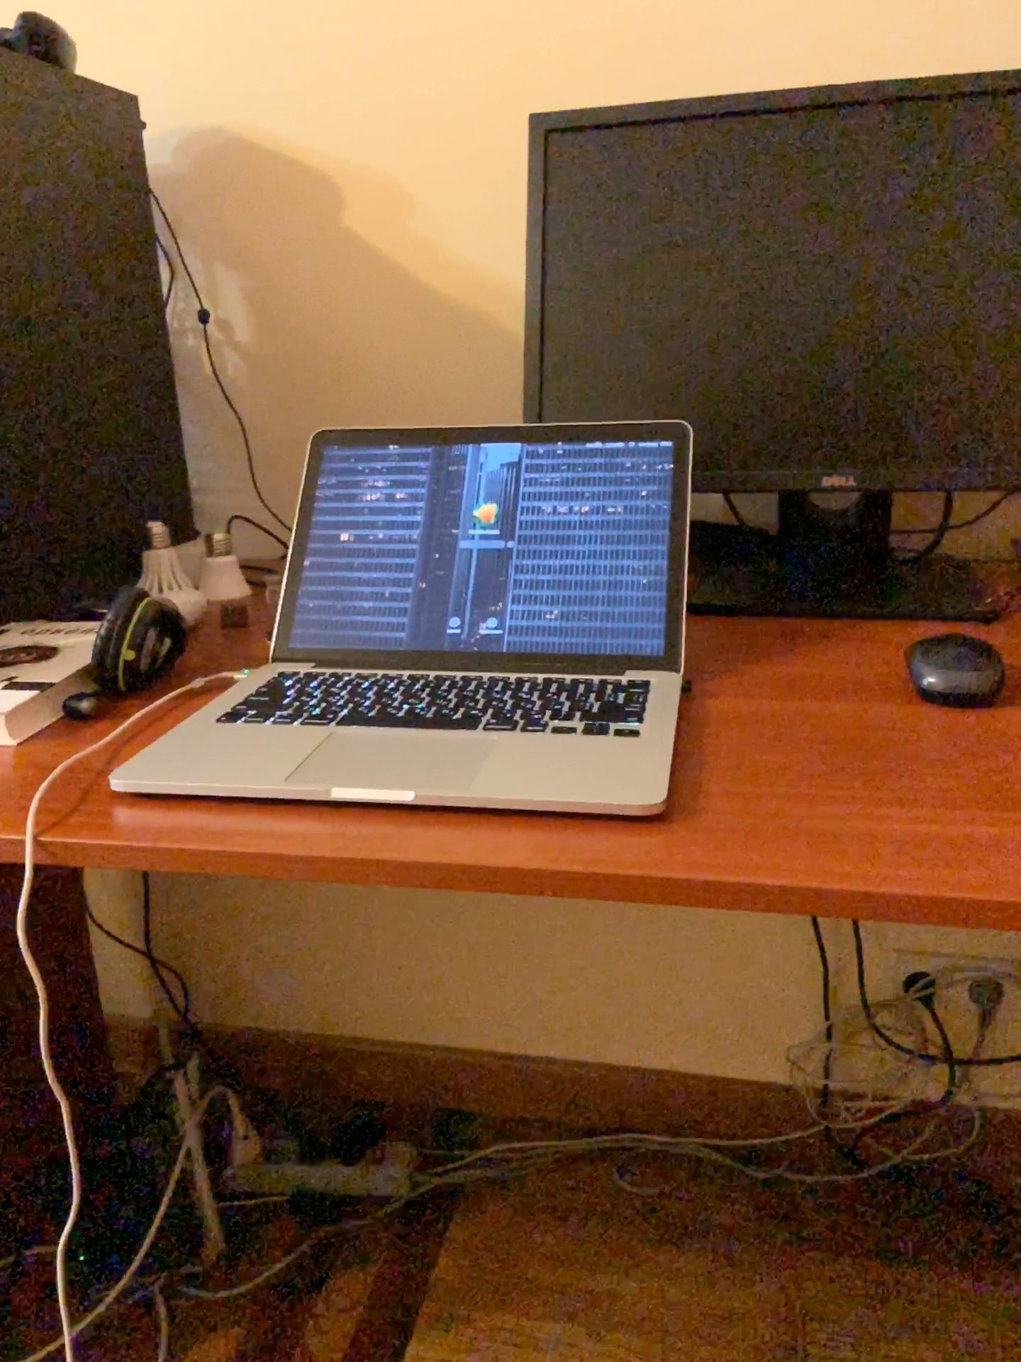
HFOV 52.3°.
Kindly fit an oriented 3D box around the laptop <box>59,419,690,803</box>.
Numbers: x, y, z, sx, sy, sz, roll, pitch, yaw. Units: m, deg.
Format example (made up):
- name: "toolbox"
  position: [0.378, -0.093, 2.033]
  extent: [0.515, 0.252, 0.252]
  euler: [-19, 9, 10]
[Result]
- name: "laptop"
  position: [-0.042, -0.072, 0.680]
  extent: [0.300, 0.155, 0.342]
  euler: [1, 19, 11]
